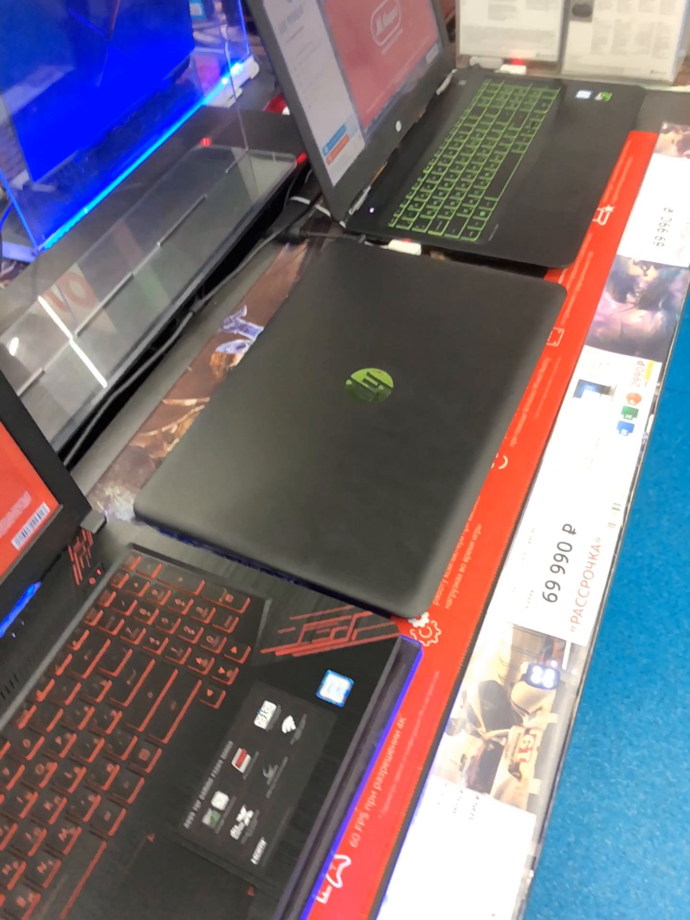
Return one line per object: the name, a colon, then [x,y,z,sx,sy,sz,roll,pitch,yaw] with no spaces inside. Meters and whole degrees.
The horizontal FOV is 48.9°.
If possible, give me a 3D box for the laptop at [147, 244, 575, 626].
laptop: [0.033,-0.055,0.649,0.233,0.012,0.366,17,54,18]
